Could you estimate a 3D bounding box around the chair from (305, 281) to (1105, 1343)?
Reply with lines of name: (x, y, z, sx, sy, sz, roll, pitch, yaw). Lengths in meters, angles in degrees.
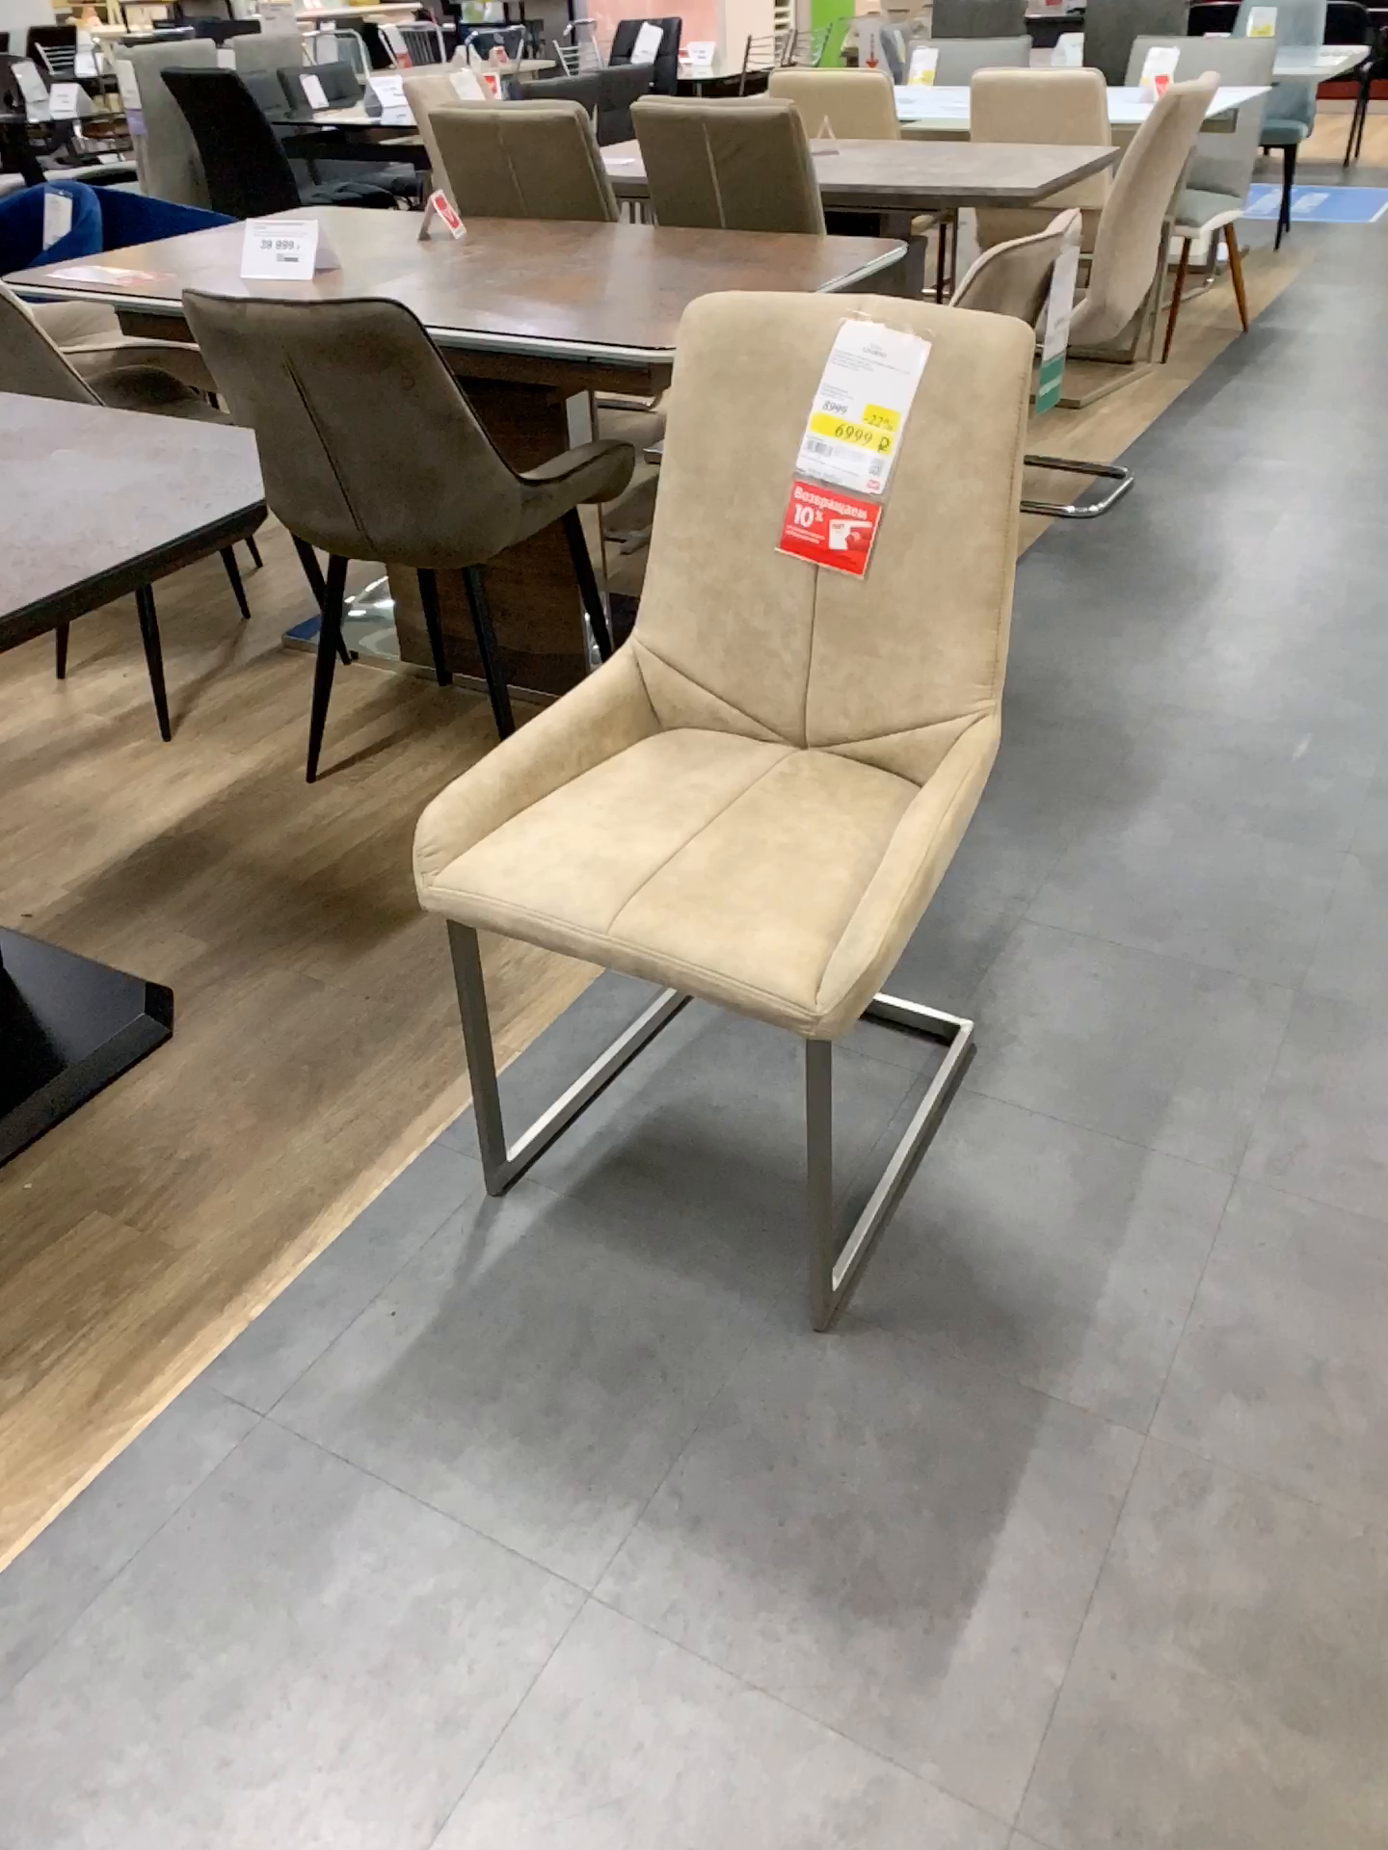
chair: (0.058, -0.148, 1.521, 0.510, 0.887, 0.586, 15, 38, 24)

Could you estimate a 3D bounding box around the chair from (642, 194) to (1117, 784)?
chair: (0.323, -0.794, 2.521, 0.624, 0.842, 0.483, 16, 38, 26)
